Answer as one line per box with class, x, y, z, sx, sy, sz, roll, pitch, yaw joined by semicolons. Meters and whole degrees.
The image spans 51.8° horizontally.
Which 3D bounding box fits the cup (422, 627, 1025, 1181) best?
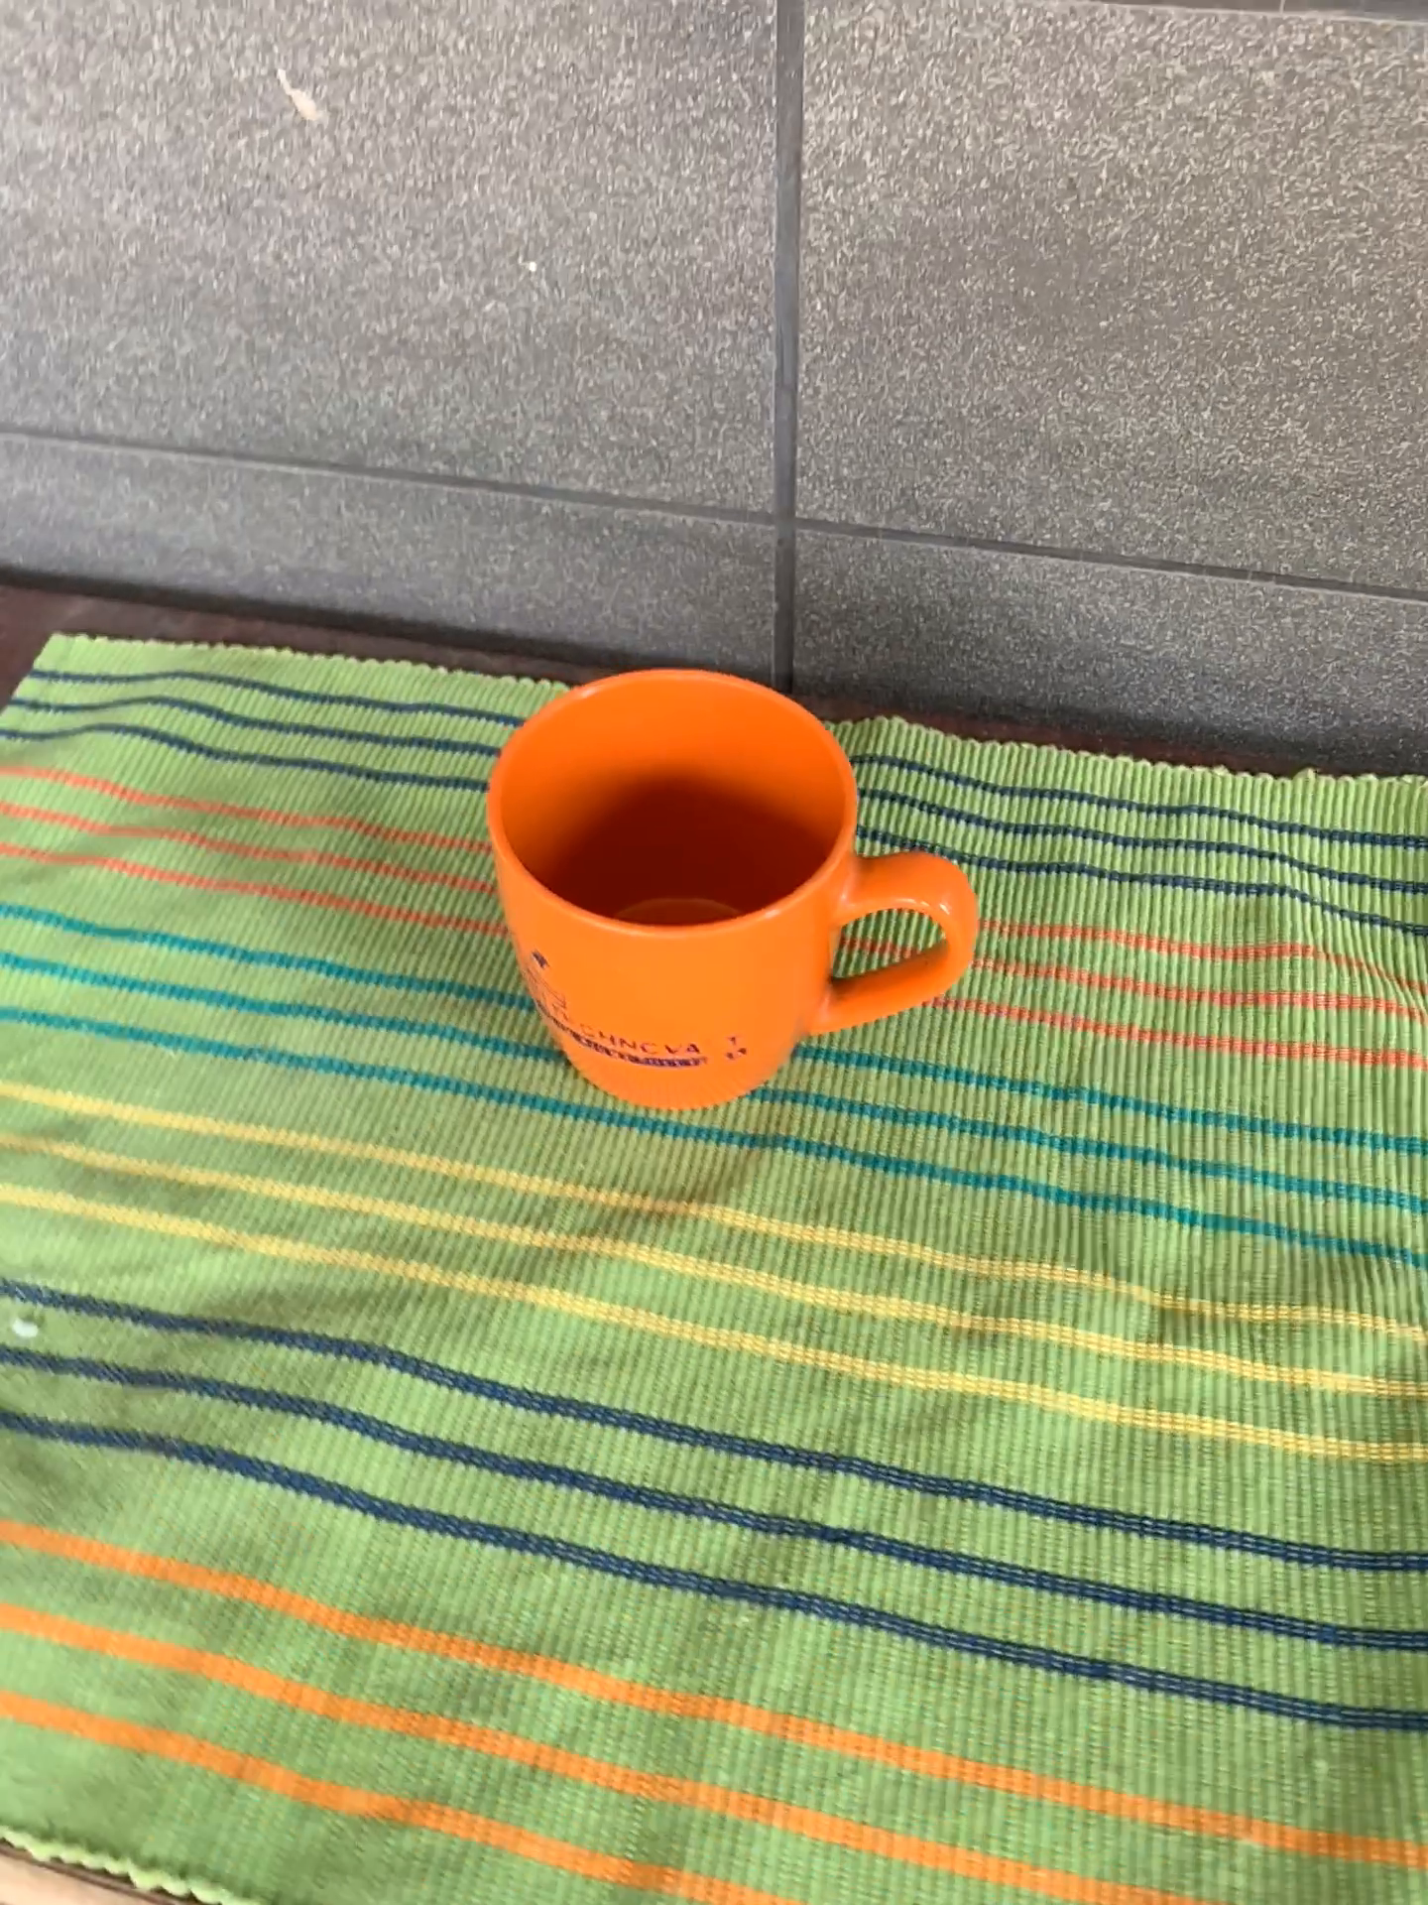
cup;0.007;-0.013;0.362;0.120;0.080;0.090;9;50;9
